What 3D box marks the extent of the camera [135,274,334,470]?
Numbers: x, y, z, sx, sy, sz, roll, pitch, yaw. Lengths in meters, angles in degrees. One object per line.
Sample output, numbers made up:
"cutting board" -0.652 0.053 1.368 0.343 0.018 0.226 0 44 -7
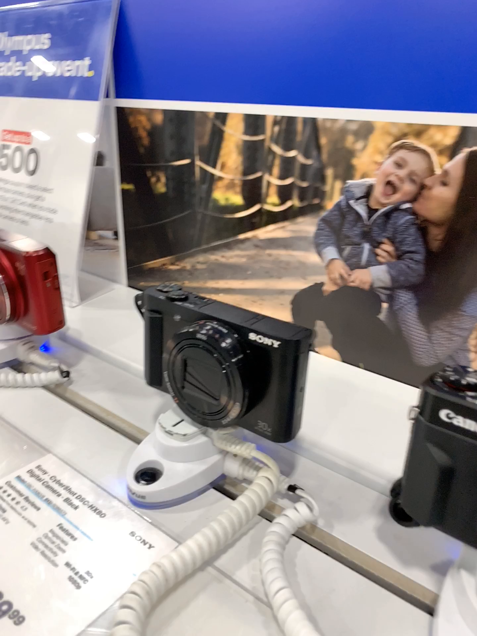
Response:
"camera" -0.008 0.024 0.272 0.110 0.070 0.030 18 26 34
